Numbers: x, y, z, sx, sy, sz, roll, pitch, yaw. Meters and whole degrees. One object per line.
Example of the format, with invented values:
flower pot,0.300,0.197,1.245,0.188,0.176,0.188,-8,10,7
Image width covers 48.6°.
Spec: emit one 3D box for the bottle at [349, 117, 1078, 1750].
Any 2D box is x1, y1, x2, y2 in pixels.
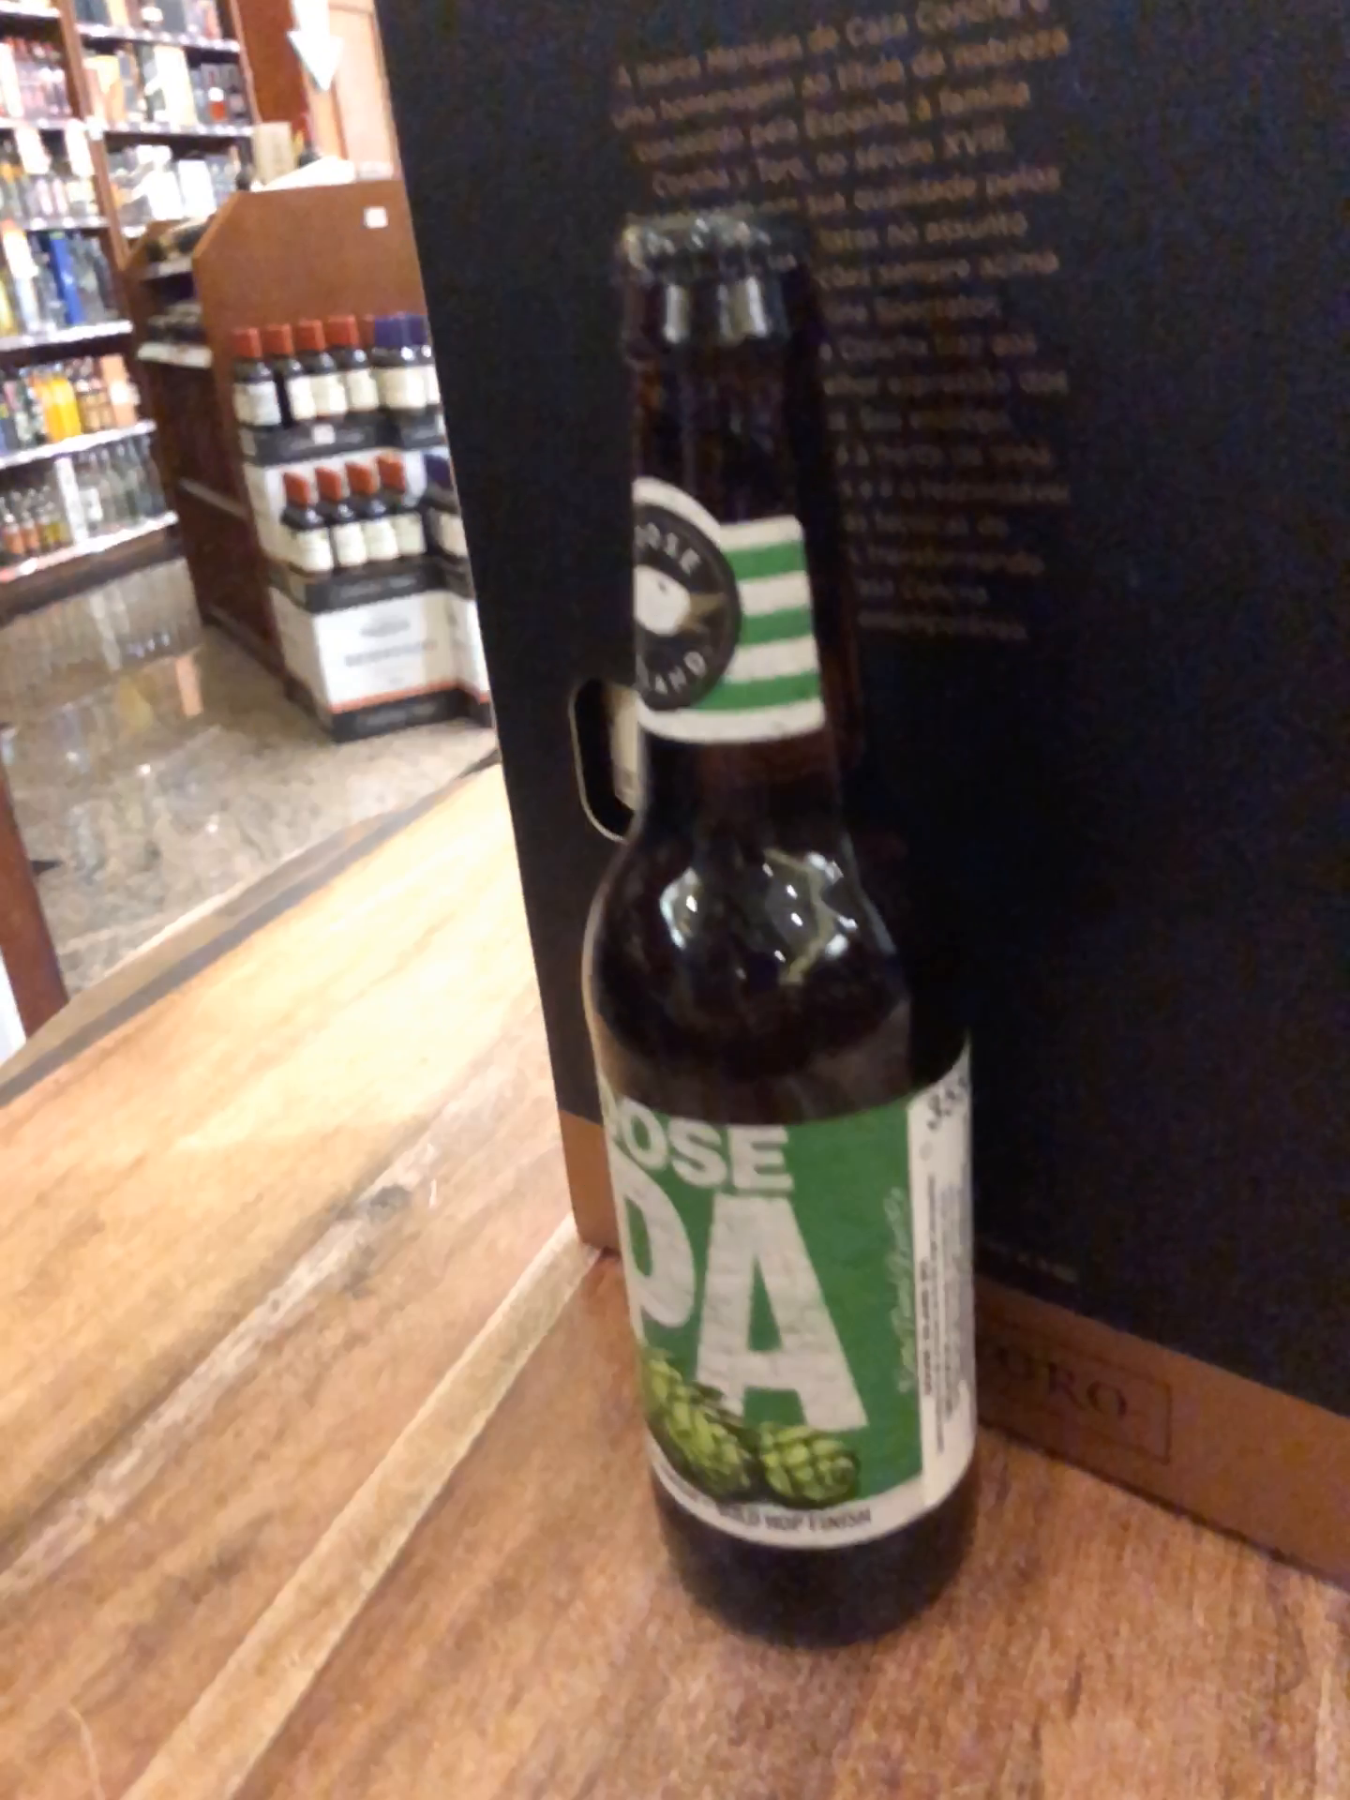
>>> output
bottle,0.016,0.011,0.233,0.070,0.228,0.060,15,31,41
